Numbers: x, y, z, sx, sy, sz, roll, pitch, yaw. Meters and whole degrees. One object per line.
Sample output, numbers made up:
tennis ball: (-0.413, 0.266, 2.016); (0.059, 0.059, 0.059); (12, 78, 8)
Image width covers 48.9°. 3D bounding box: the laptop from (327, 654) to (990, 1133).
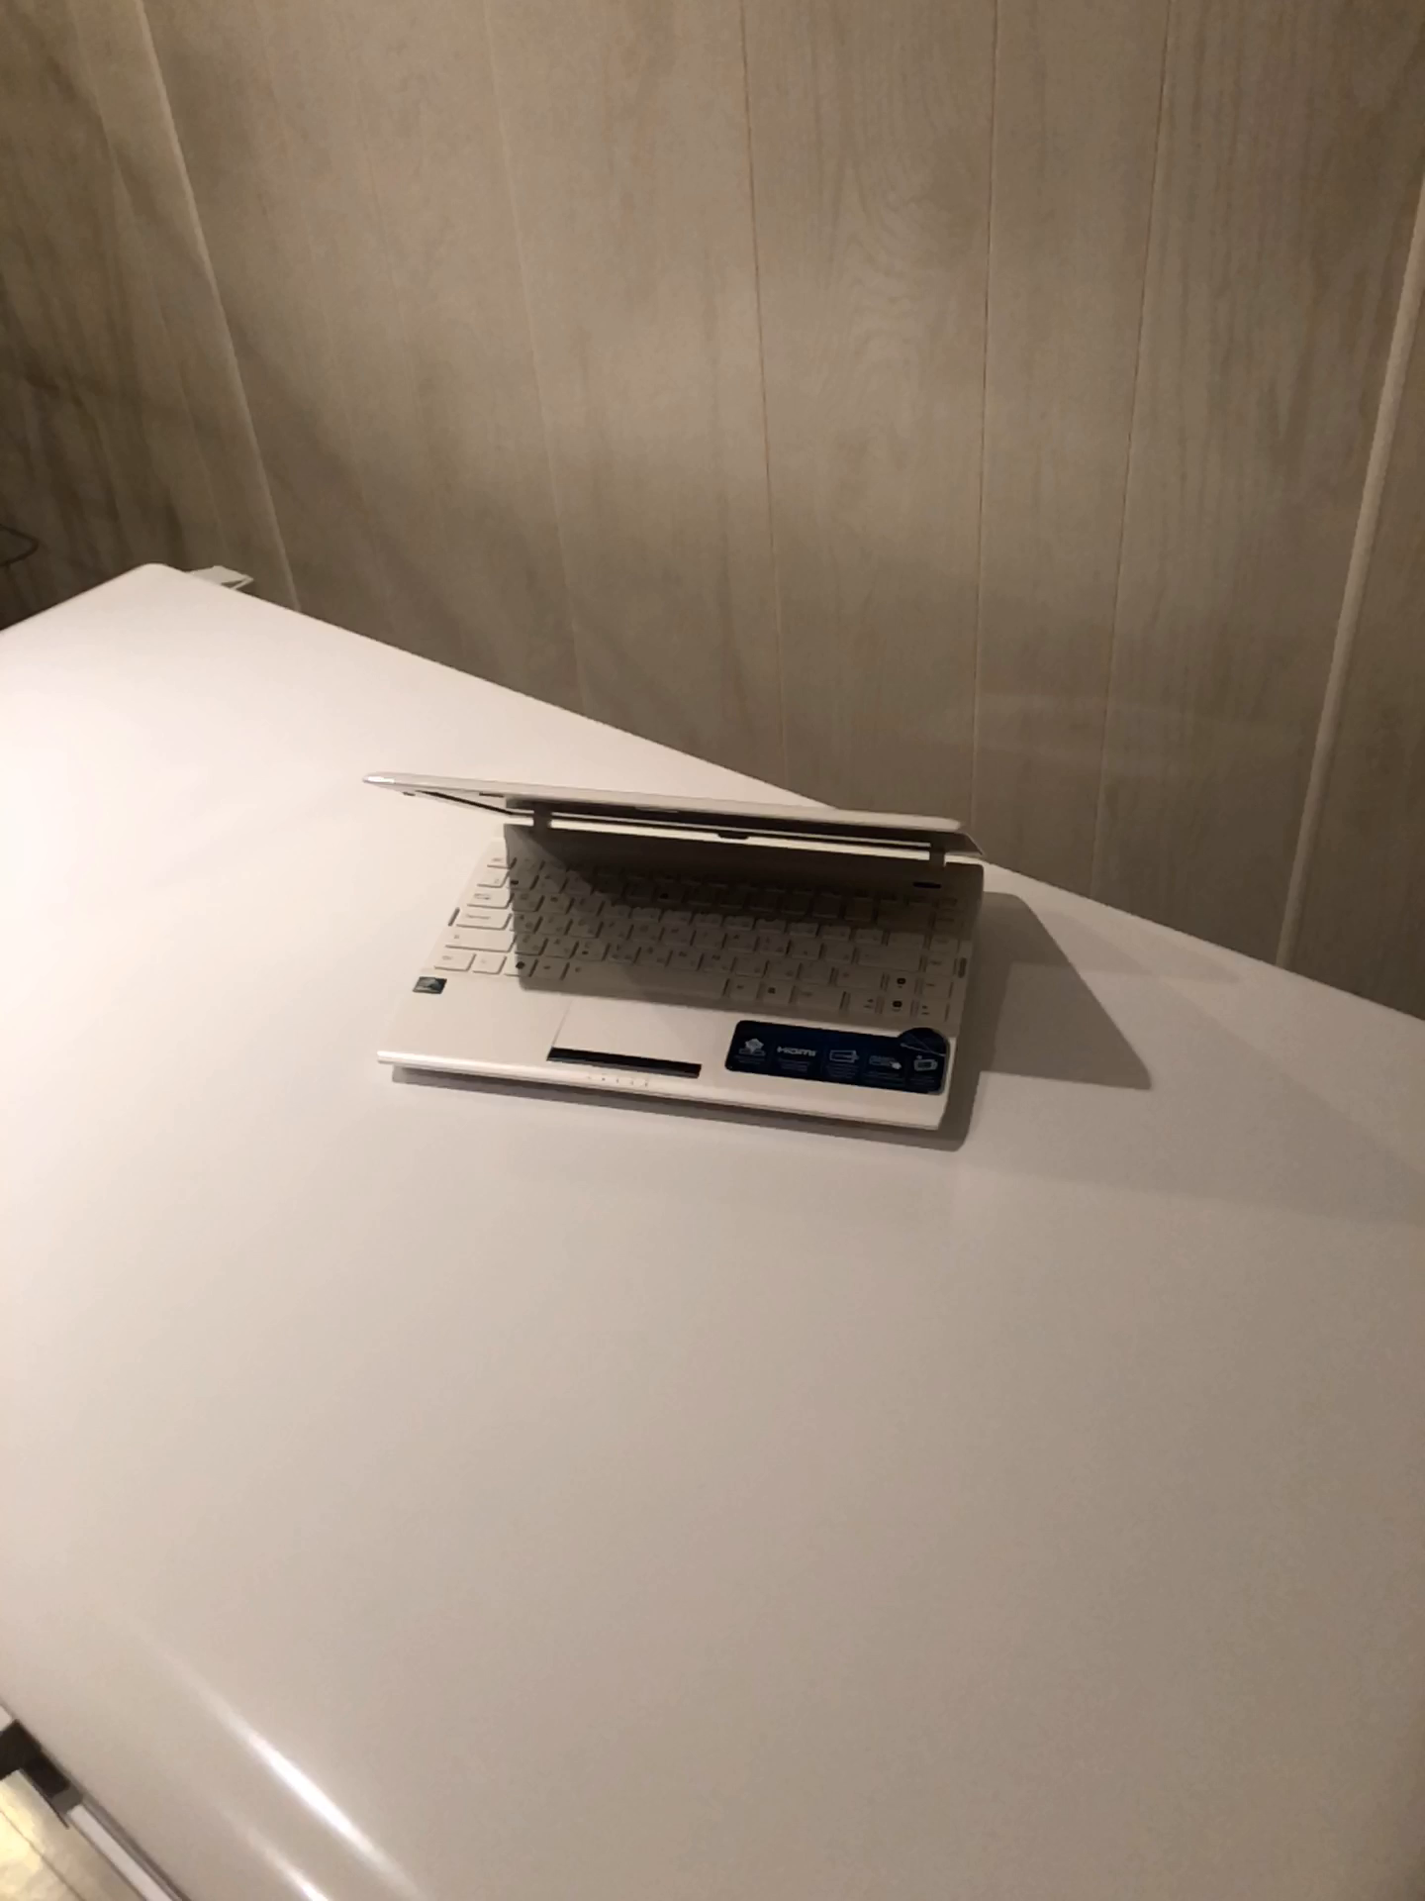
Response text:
laptop: (-0.015, -0.040, 0.819); (0.298, 0.115, 0.199); (5, 43, 13)
